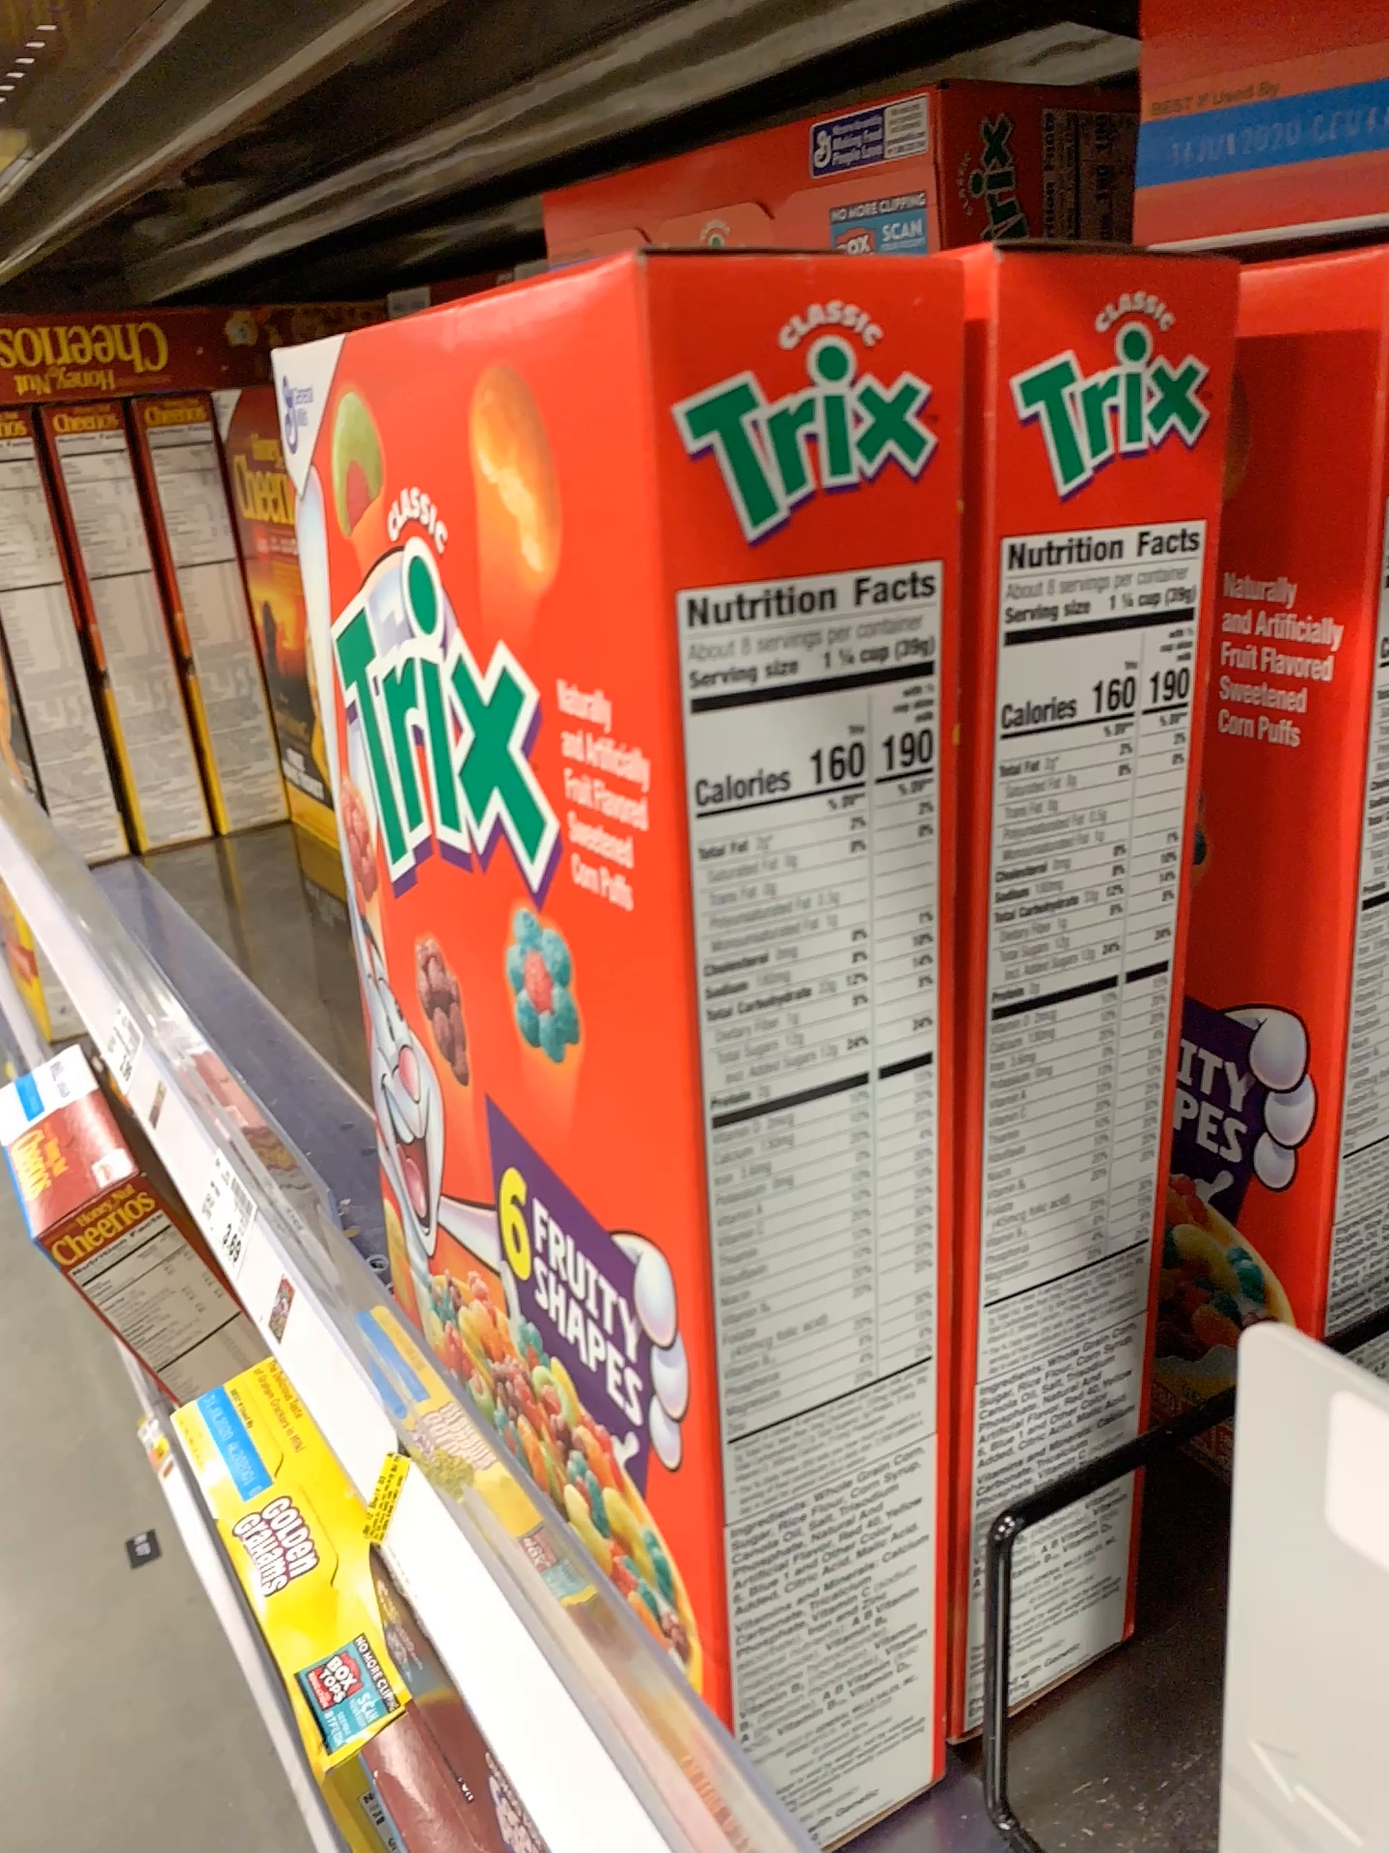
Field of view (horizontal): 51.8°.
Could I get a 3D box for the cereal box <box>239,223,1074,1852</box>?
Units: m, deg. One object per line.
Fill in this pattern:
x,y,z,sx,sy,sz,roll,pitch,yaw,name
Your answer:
-0.017,0.023,0.306,0.060,0.289,0.201,-15,23,-27,cereal box
